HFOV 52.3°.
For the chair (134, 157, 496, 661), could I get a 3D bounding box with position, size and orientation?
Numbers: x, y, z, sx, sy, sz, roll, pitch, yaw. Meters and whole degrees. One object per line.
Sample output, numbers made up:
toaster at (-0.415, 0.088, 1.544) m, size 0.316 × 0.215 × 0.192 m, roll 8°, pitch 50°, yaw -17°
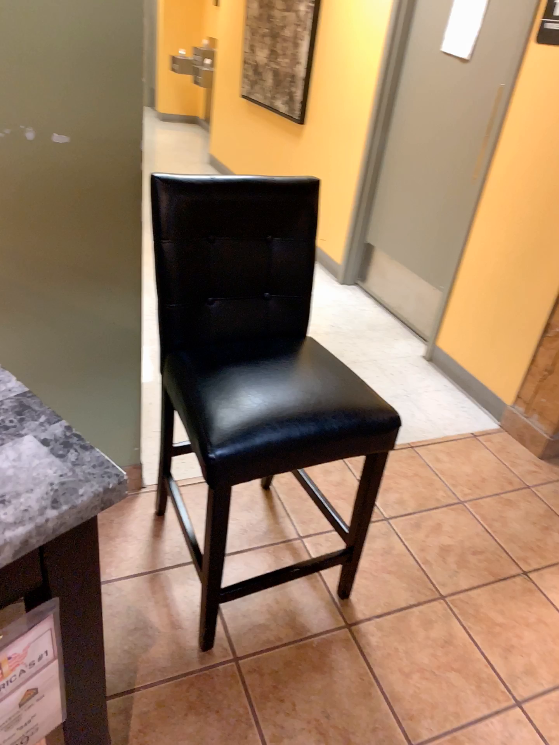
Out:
chair at (-0.028, 0.056, 1.392) m, size 0.499 × 0.961 × 0.620 m, roll -8°, pitch 35°, yaw -26°
